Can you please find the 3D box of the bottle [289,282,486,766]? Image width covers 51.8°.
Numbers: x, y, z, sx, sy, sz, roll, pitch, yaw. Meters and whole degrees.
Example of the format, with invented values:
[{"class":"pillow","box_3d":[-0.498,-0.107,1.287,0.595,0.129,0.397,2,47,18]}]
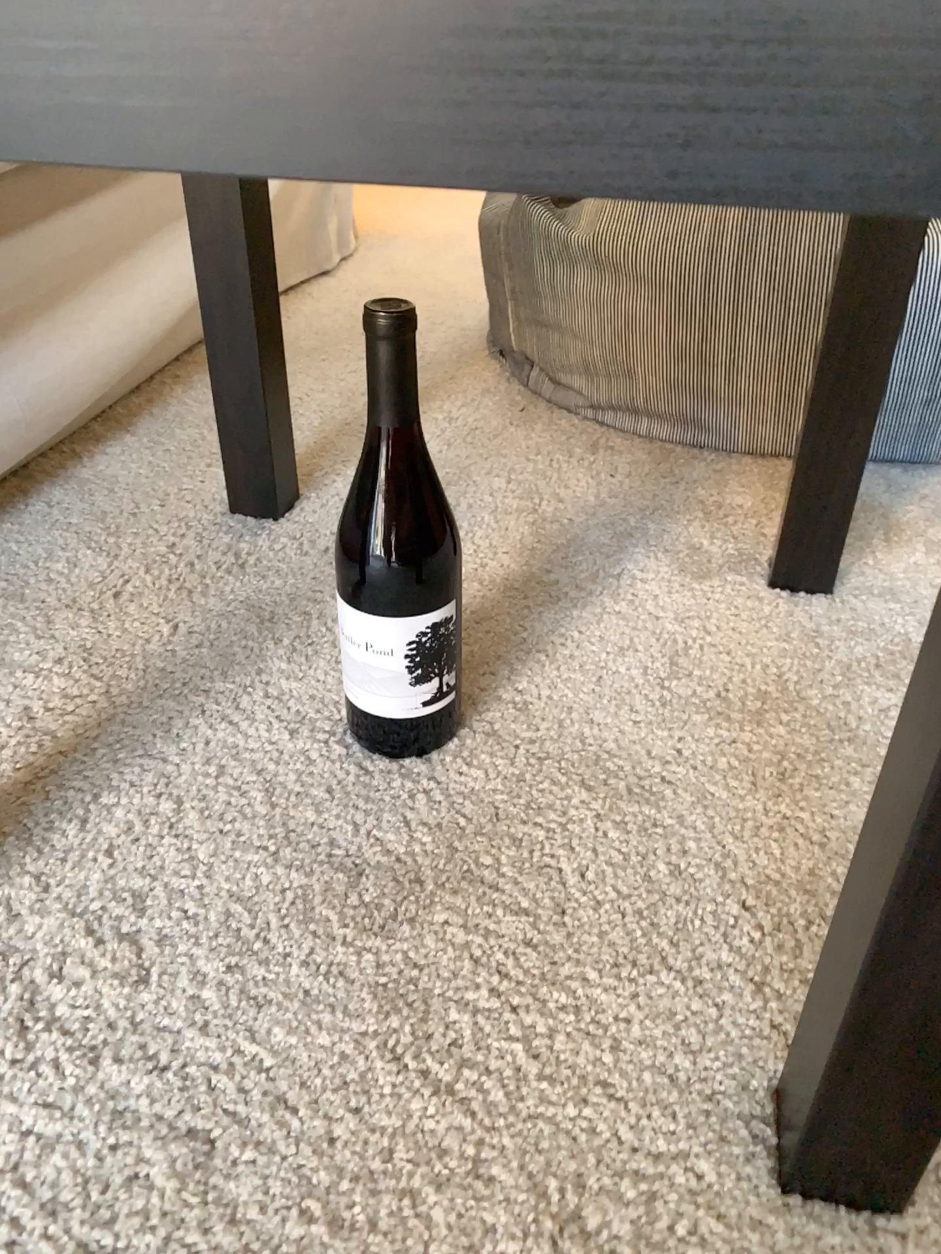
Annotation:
[{"class":"bottle","box_3d":[-0.043,-0.054,0.607,0.090,0.288,0.091,1,35,0]}]
